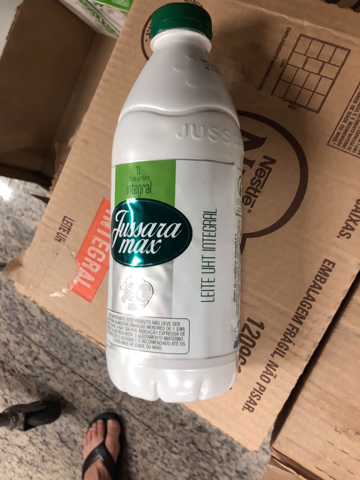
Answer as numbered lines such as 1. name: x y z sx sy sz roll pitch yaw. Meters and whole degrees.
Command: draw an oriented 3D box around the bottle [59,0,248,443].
1. bottle: -0.012 -0.020 0.237 0.090 0.060 0.240 2 95 22
